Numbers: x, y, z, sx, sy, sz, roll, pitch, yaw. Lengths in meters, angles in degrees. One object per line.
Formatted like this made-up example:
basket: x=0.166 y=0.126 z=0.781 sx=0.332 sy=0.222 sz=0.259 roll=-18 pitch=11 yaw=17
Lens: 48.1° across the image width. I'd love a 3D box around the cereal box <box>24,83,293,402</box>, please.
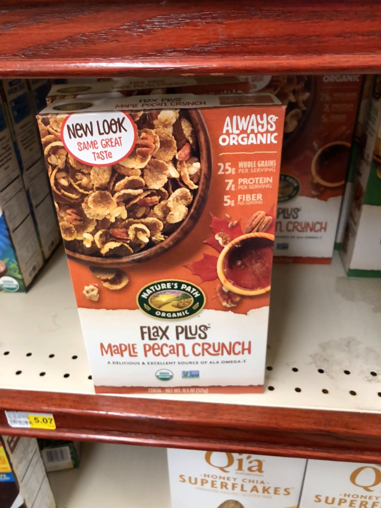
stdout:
cereal box: x=-0.014 y=0.008 z=0.346 sx=0.160 sy=0.259 sz=0.060 roll=-1 pitch=31 yaw=3
